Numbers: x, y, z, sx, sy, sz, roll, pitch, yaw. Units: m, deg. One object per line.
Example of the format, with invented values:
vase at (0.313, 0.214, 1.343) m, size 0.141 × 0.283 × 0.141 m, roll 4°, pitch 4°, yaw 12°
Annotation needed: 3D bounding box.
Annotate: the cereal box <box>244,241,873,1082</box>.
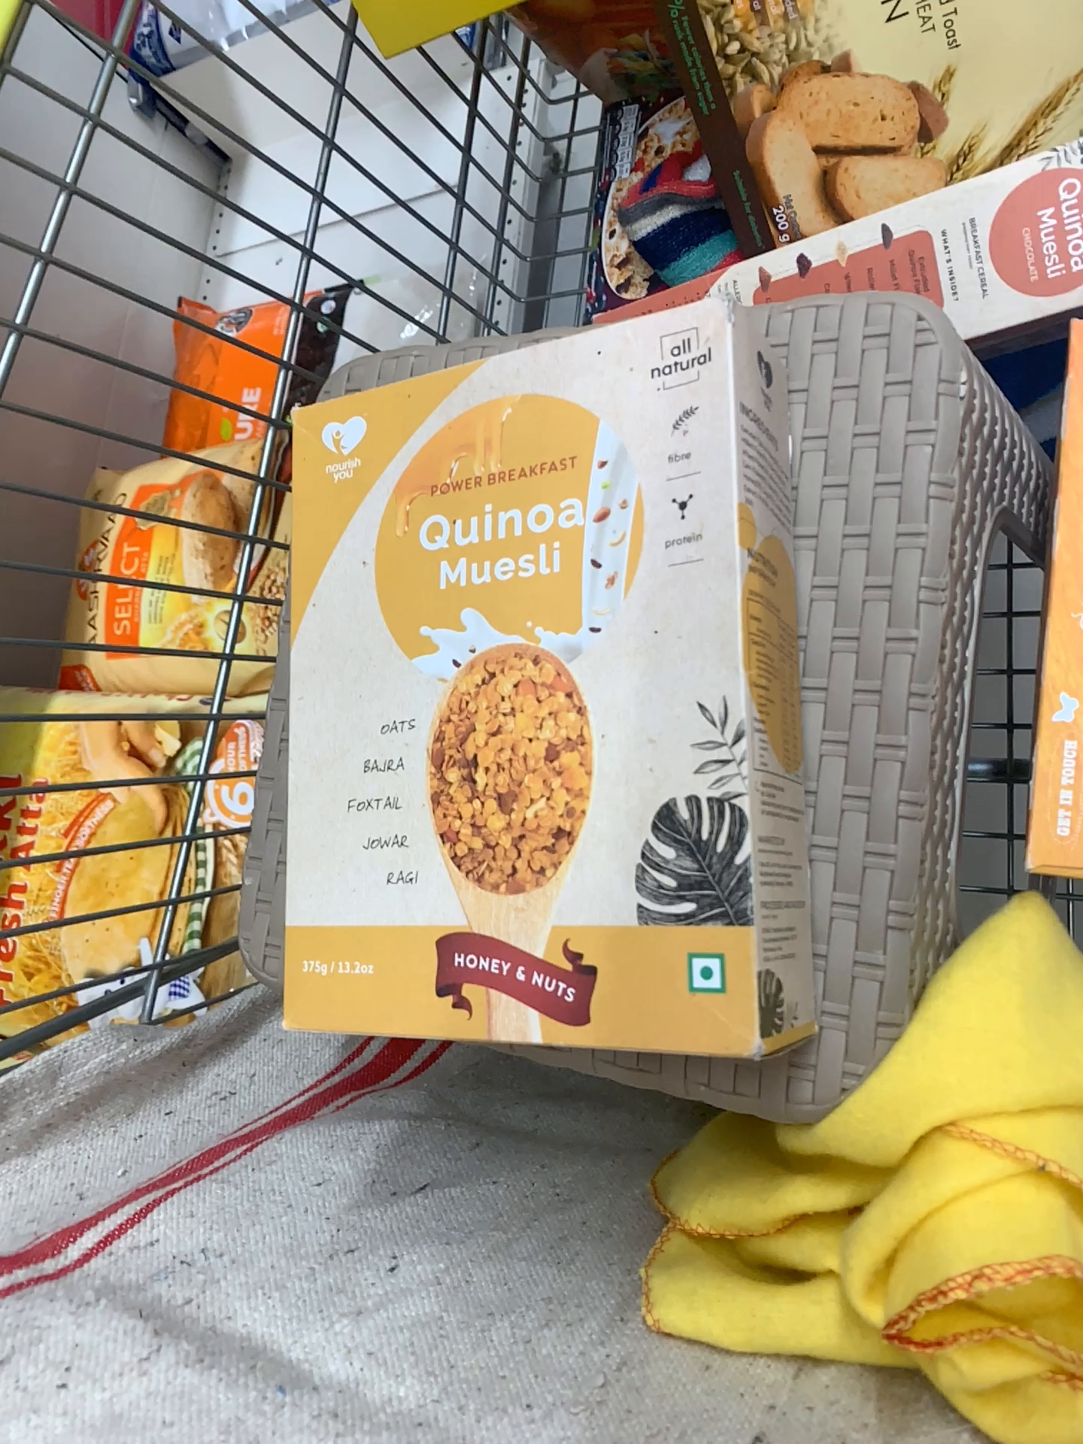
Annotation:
cereal box at (0.003, -0.008, 0.331) m, size 0.161 × 0.080 × 0.200 m, roll -6°, pitch 80°, yaw 28°
